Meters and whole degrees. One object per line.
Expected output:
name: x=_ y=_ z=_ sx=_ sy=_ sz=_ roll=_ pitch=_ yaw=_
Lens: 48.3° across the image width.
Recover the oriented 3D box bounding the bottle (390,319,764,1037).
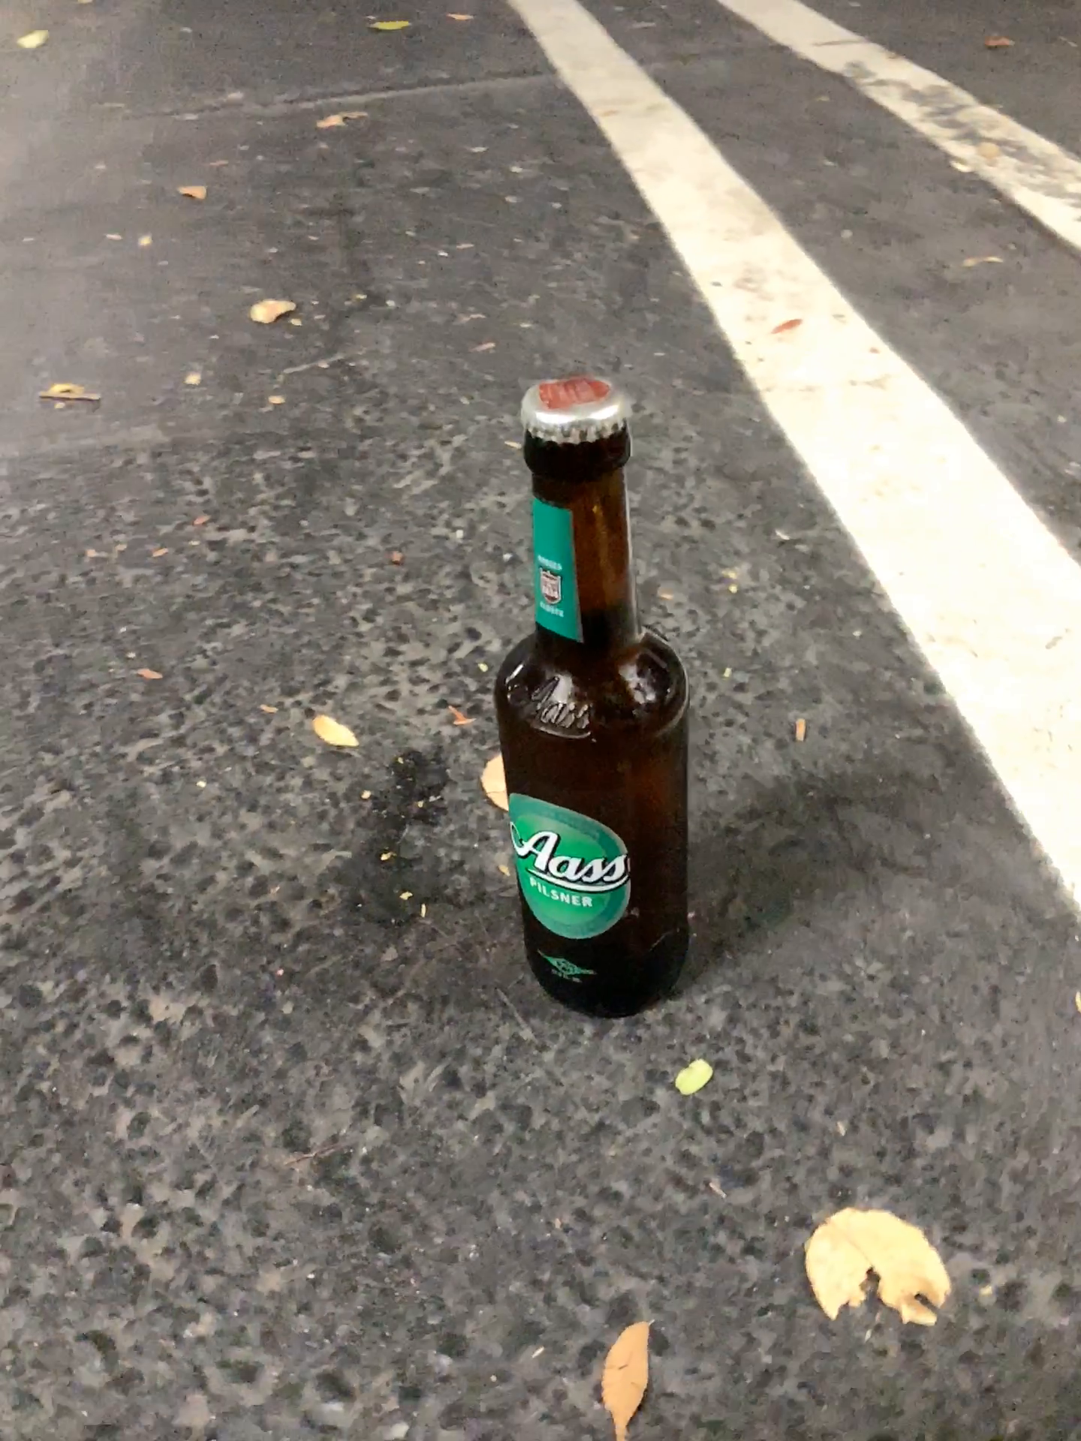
bottle: x=0.017 y=-0.002 z=0.365 sx=0.070 sy=0.210 sz=0.070 roll=-3 pitch=43 yaw=2
